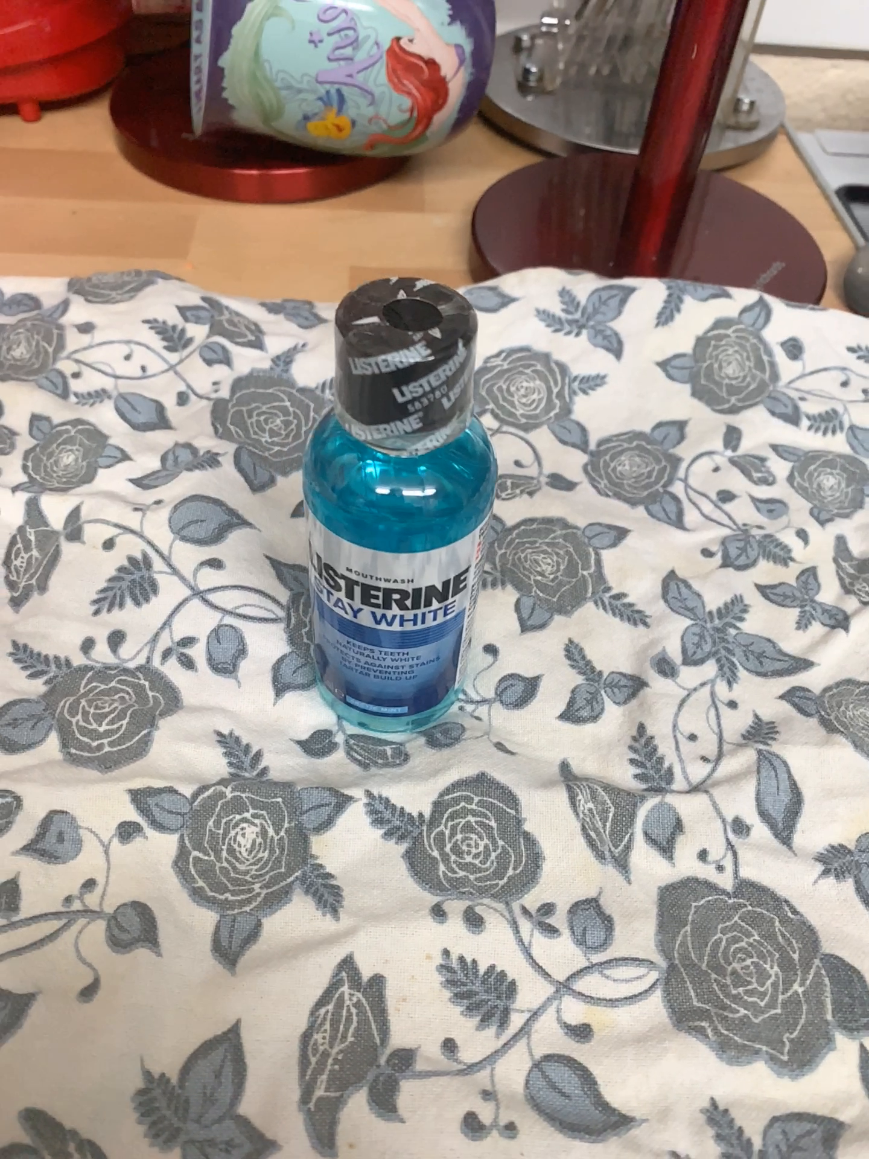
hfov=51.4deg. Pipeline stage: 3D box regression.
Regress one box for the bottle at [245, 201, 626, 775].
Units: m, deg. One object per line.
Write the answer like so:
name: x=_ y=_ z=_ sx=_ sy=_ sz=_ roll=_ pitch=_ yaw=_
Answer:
bottle: x=-0.002 y=-0.013 z=0.199 sx=0.050 sy=0.109 sz=0.050 roll=3 pitch=50 yaw=-3
